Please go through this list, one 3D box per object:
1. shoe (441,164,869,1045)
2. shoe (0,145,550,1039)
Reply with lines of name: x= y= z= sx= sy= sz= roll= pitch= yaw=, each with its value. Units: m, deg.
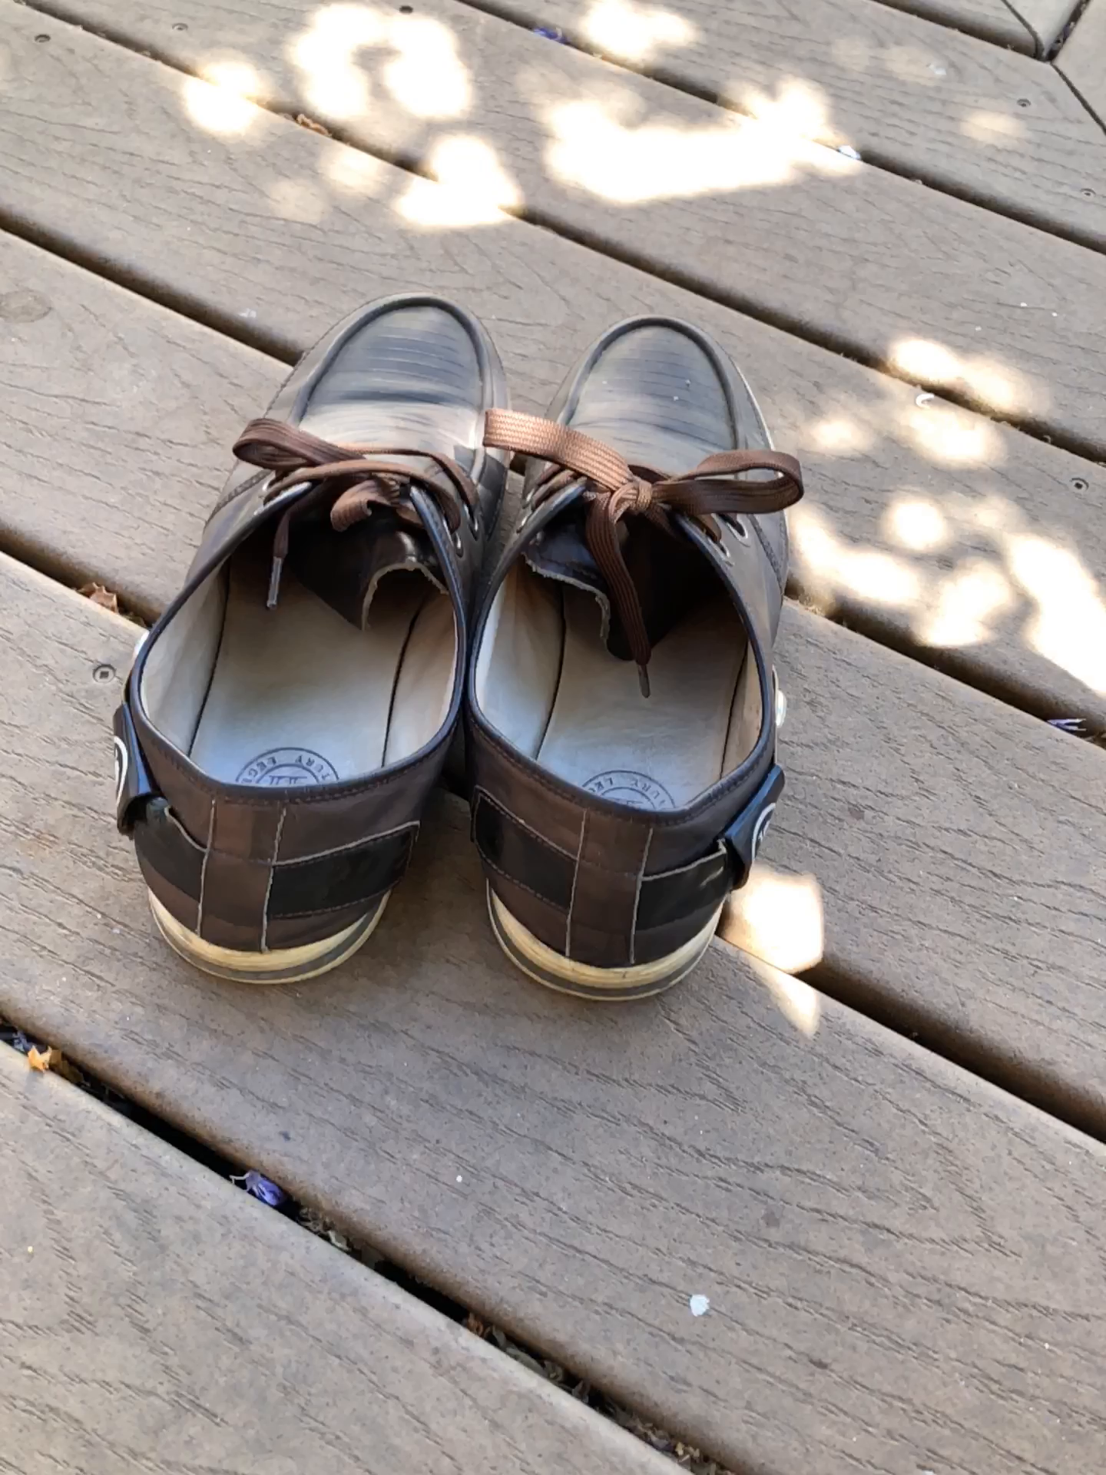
shoe: x=0.038 y=-0.057 z=0.426 sx=0.107 sy=0.105 sz=0.290 roll=8 pitch=59 yaw=-1
shoe: x=-0.077 y=-0.060 z=0.426 sx=0.107 sy=0.115 sz=0.288 roll=9 pitch=59 yaw=-1
